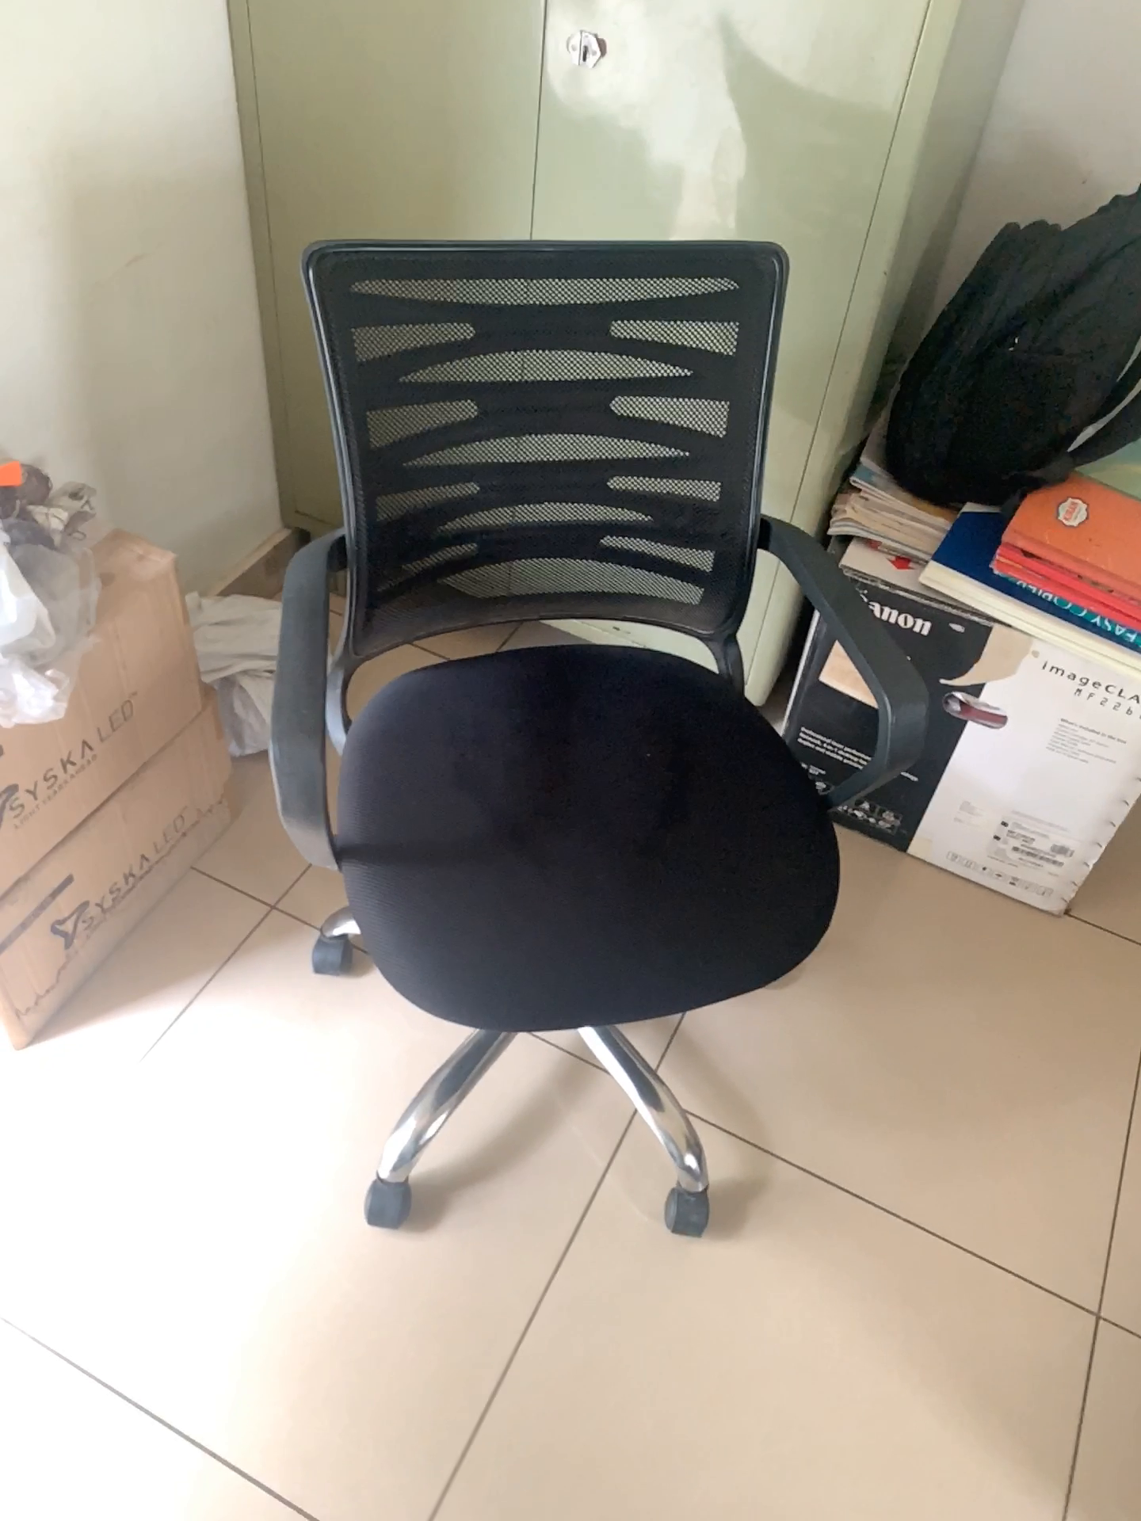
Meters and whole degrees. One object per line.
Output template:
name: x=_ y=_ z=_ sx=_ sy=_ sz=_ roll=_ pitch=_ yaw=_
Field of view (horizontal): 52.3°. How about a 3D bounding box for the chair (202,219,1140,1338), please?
chair: x=0.025 y=0.049 z=1.276 sx=0.680 sy=0.996 sz=0.652 roll=-7 pitch=47 yaw=-14
